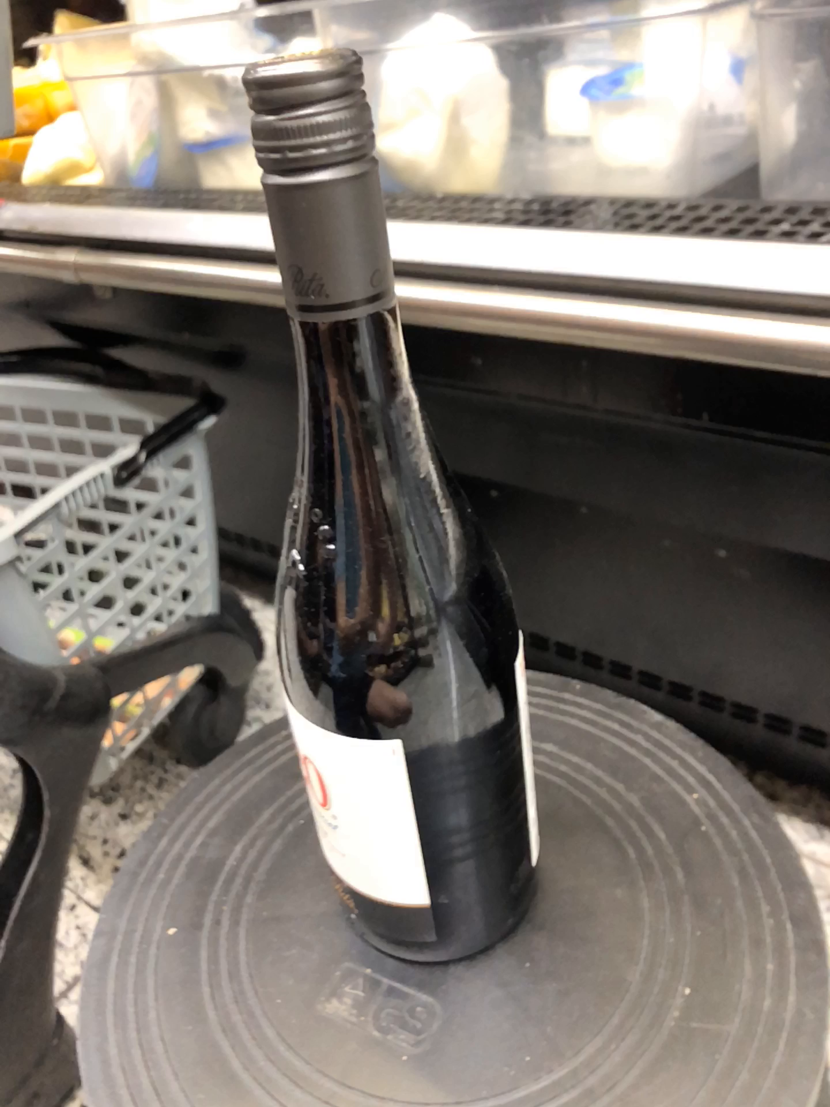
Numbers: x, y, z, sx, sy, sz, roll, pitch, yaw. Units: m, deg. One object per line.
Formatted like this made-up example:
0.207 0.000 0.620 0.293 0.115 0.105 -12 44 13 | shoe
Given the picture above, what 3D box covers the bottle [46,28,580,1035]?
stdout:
-0.016 0.010 0.286 0.090 0.288 0.091 -7 32 4 | bottle
